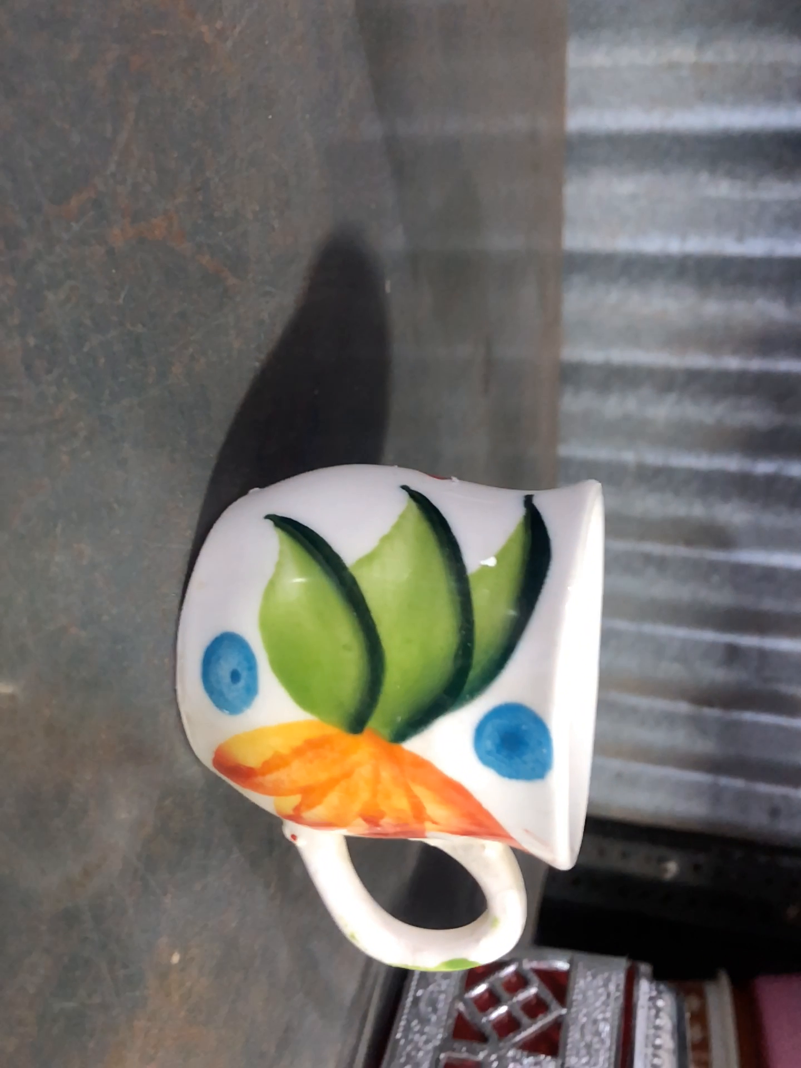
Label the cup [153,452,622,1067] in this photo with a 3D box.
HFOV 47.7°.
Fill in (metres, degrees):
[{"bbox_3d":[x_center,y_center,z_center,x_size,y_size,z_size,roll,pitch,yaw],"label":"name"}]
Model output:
[{"bbox_3d":[0.003,0.032,0.175,0.070,0.070,0.090,-24,117,-74],"label":"cup"}]
